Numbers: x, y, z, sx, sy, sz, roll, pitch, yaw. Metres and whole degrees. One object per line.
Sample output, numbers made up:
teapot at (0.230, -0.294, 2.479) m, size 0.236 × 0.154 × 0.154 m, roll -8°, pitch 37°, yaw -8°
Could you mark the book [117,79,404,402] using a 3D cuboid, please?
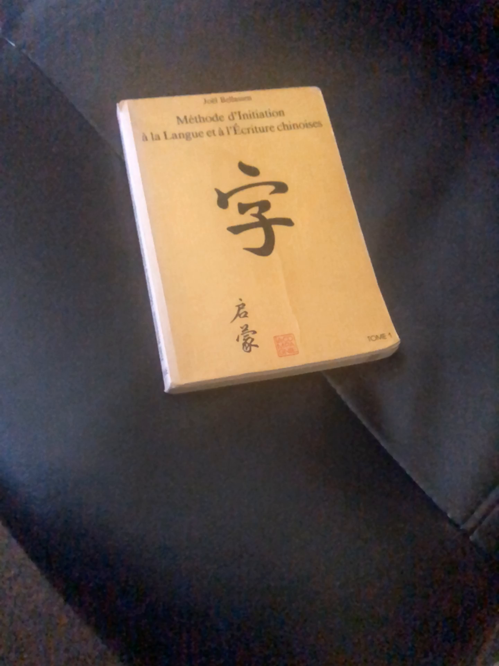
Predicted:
book at (-0.001, -0.075, 0.385) m, size 0.152 × 0.028 × 0.220 m, roll -9°, pitch 70°, yaw -9°
